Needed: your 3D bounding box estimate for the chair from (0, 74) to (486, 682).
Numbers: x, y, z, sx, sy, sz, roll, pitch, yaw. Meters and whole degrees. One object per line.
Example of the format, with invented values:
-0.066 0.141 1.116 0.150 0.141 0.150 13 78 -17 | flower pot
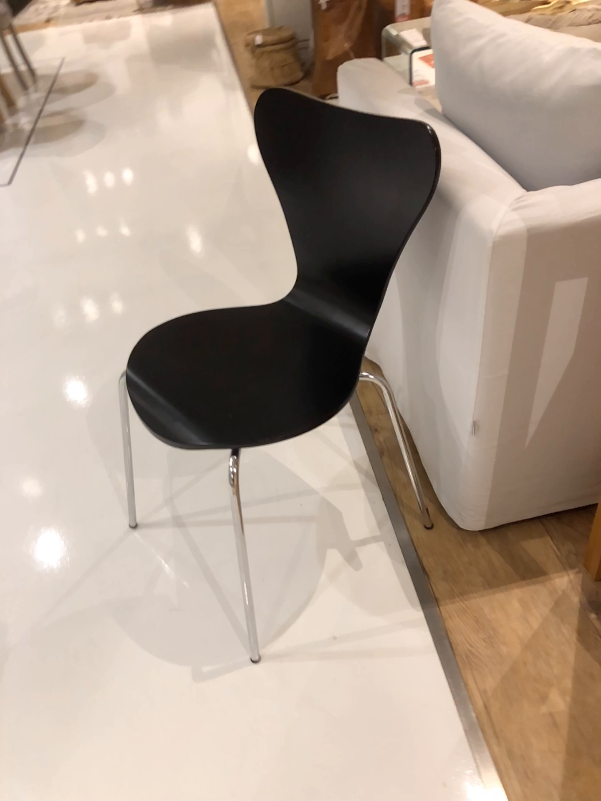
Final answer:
-0.089 -0.059 1.185 0.552 0.774 0.543 -33 46 -26 | chair
